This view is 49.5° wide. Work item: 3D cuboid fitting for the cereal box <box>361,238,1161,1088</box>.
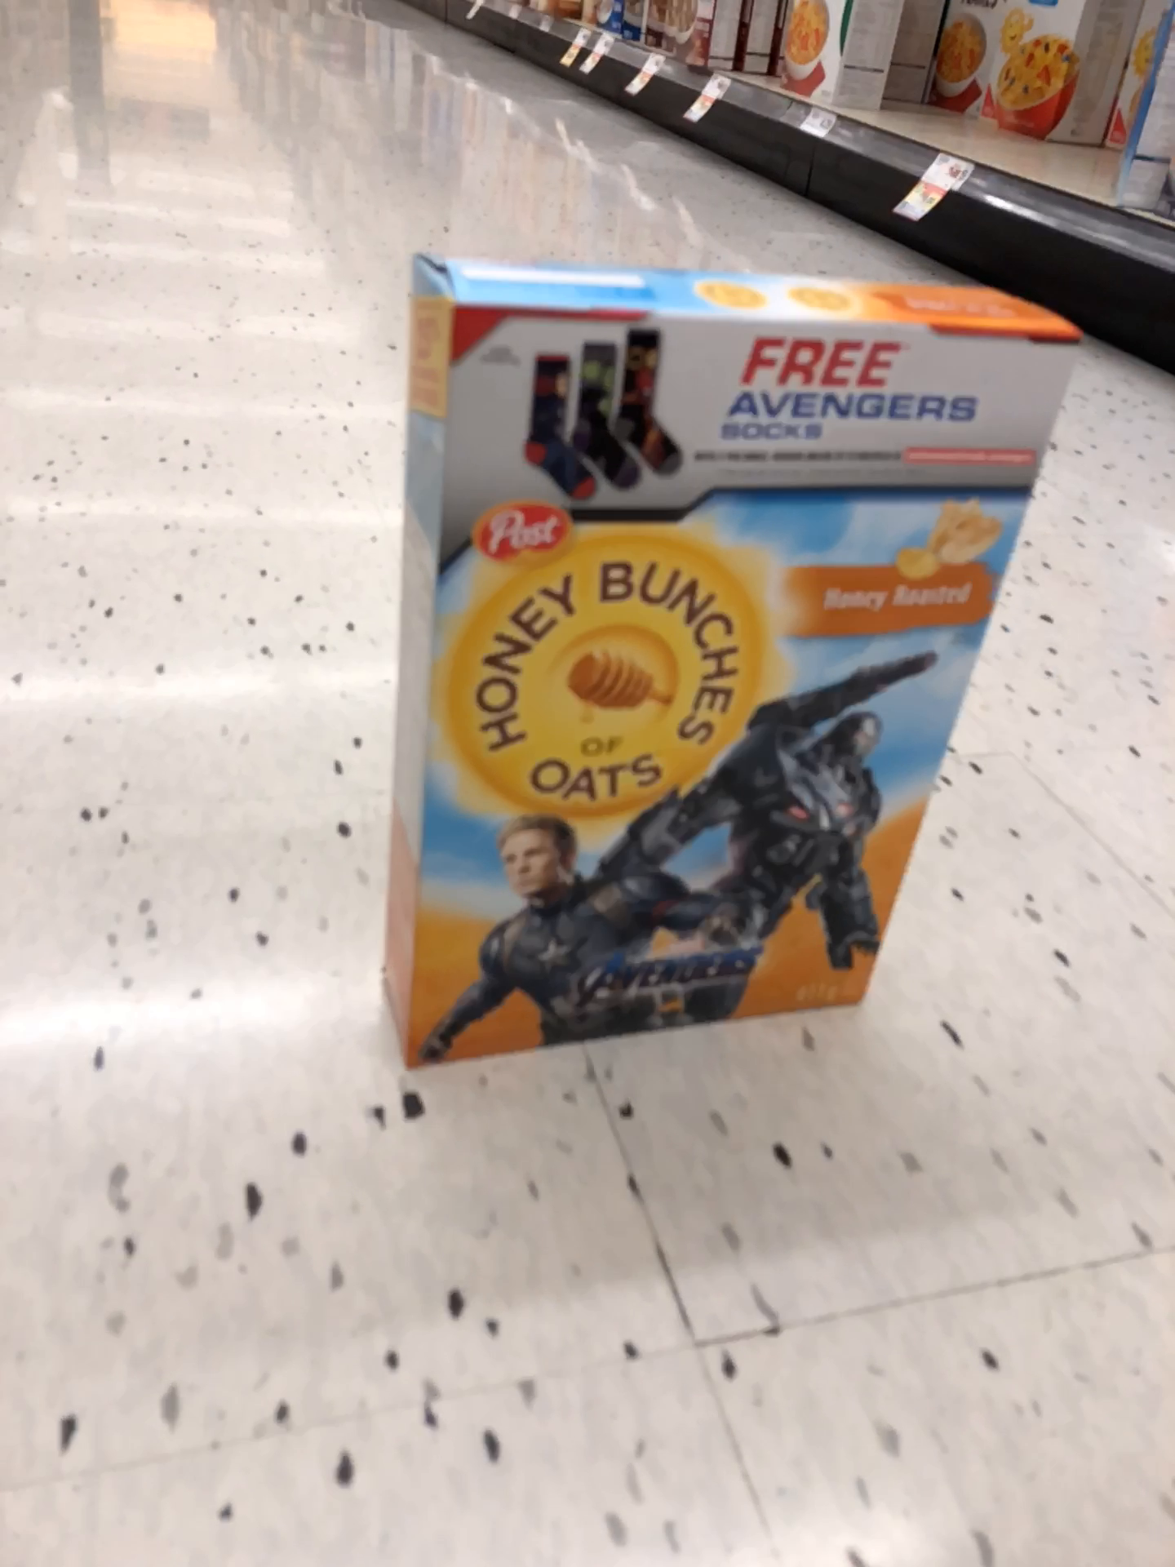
[{"bbox_3d":[0.039,-0.029,0.421,0.210,0.258,0.060,-4,35,-19],"label":"cereal box"}]
